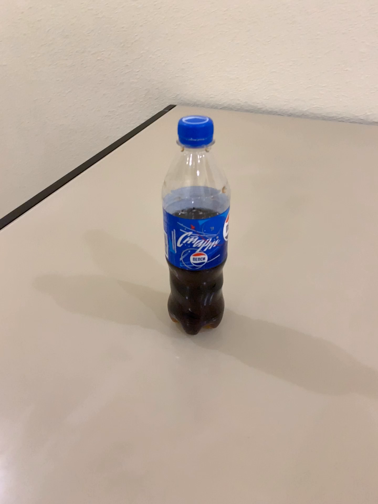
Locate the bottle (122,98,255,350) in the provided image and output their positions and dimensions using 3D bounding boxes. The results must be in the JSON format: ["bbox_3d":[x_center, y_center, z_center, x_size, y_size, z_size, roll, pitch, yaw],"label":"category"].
[{"bbox_3d":[0.000,-0.021,0.392,0.080,0.229,0.080,-1,36,1],"label":"bottle"}]
